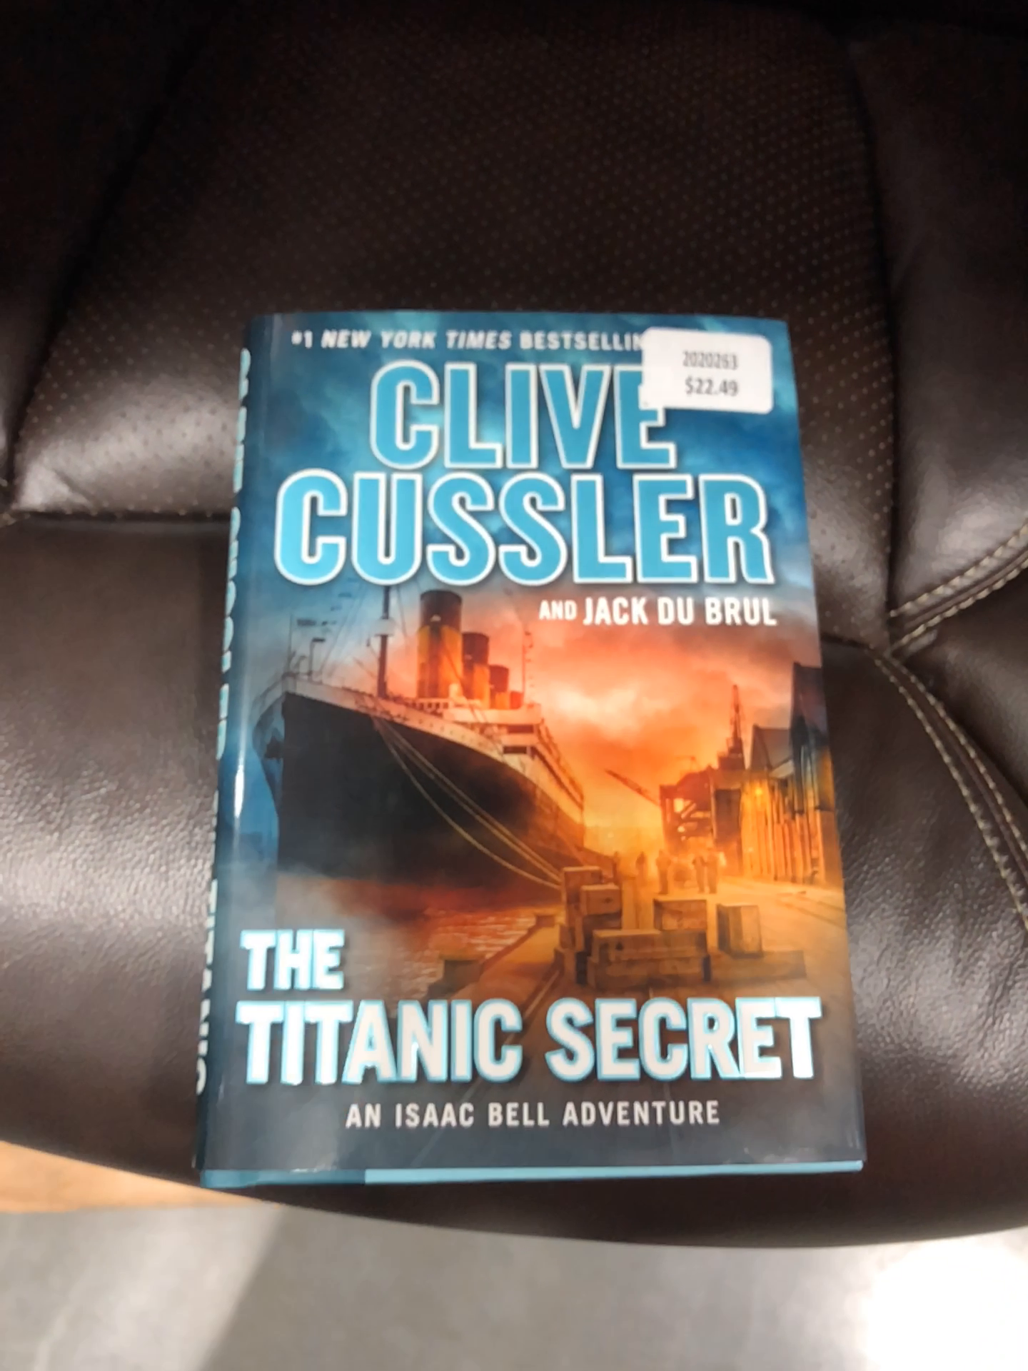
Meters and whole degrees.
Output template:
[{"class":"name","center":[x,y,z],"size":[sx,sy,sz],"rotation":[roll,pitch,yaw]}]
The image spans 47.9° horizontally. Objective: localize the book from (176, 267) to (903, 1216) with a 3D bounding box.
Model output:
[{"class":"book","center":[0.005,0.005,0.317],"size":[0.165,0.040,0.249],"rotation":[0,74,-2]}]
